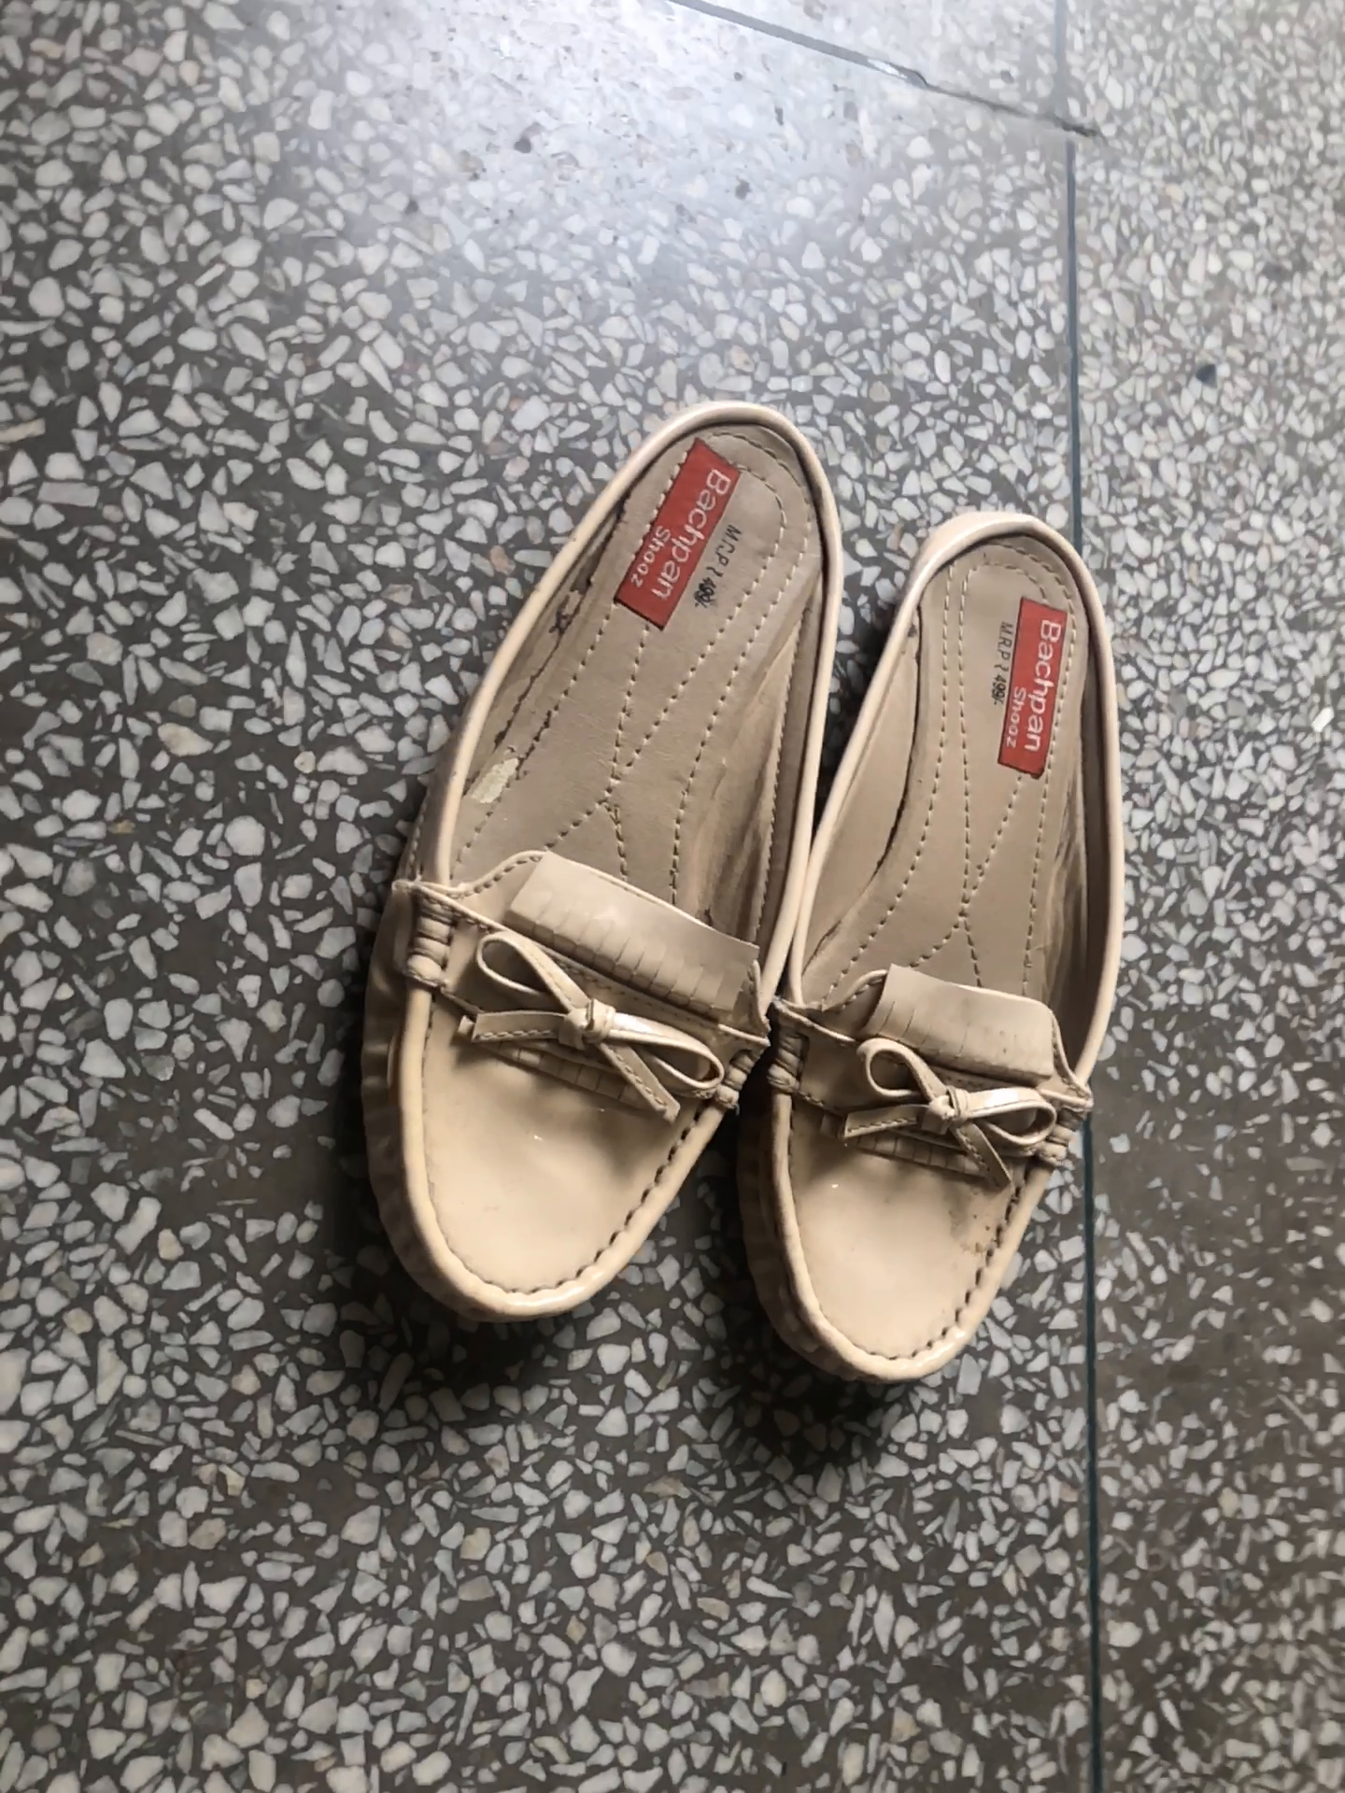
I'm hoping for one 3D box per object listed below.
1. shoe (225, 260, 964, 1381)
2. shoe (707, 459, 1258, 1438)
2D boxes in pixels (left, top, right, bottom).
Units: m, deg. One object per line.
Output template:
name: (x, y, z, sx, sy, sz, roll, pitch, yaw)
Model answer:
shoe: (-0.012, -0.018, 0.333, 0.090, 0.040, 0.220, 23, 77, -19)
shoe: (0.078, 0.012, 0.360, 0.080, 0.040, 0.210, 19, 78, -20)
